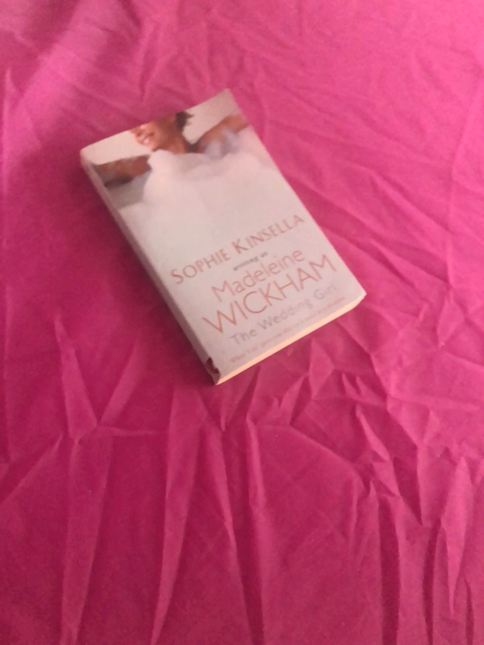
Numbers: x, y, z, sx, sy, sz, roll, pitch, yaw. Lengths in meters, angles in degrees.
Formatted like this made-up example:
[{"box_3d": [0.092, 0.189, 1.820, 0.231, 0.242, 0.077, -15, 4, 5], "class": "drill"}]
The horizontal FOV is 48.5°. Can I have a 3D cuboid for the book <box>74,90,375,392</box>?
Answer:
[{"box_3d": [-0.015, -0.070, 0.400, 0.135, 0.027, 0.201, -27, 77, -21], "class": "book"}]
